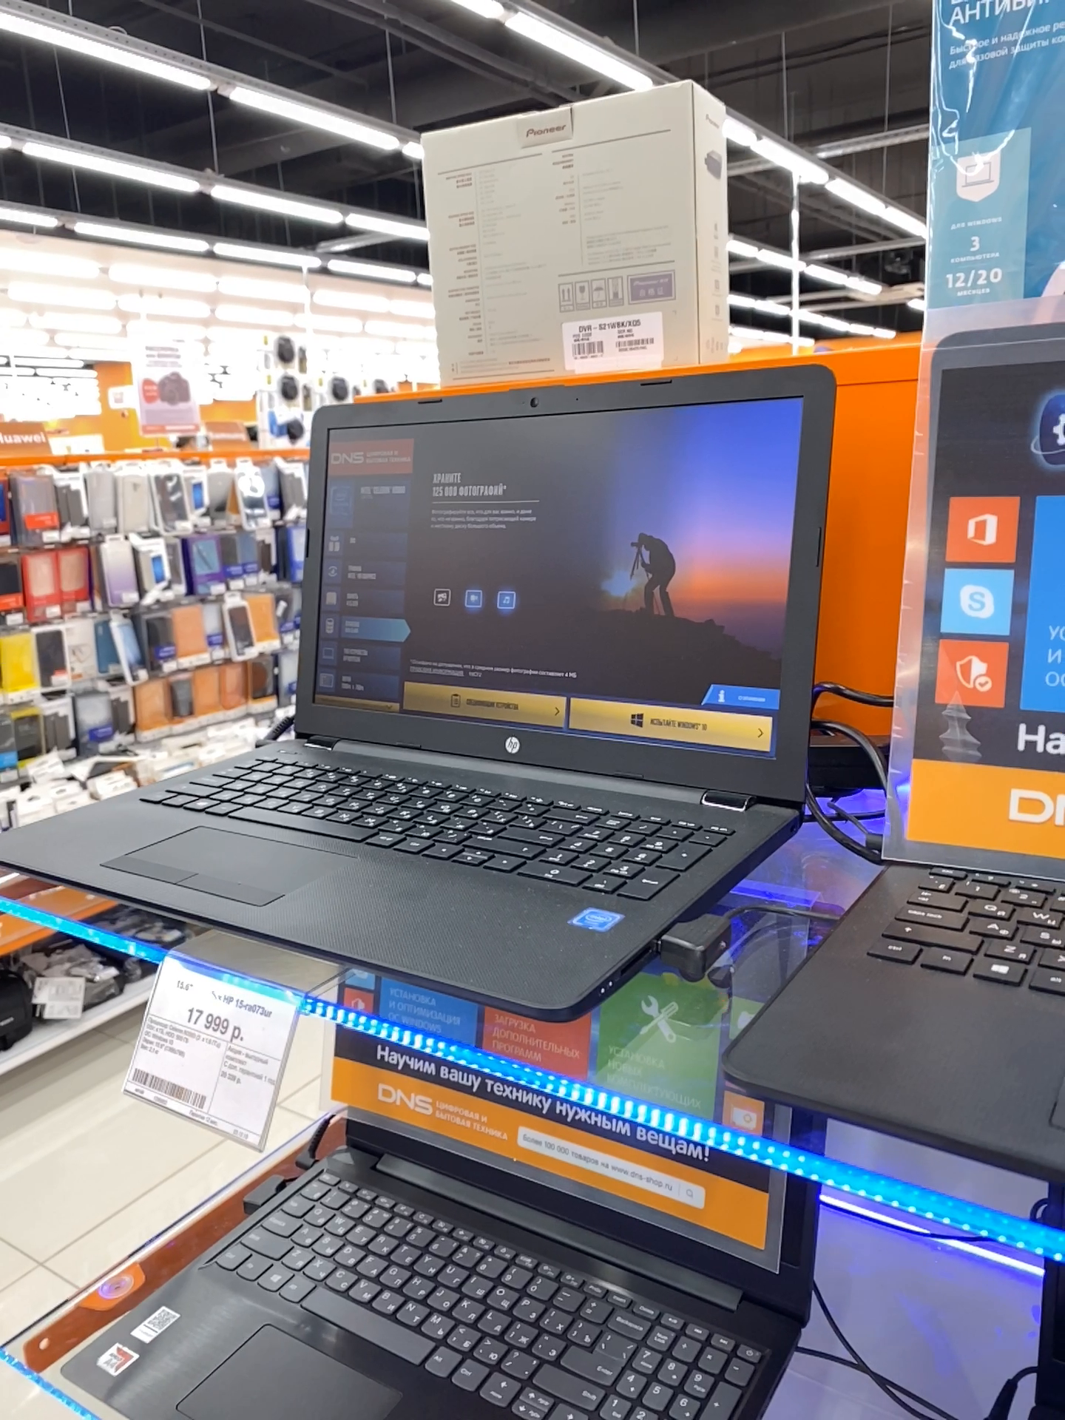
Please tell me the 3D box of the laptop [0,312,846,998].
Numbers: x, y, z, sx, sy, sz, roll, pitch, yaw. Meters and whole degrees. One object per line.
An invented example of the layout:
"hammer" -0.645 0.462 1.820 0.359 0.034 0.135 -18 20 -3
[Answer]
"laptop" -0.064 -0.061 0.612 0.389 0.236 0.322 5 14 33
